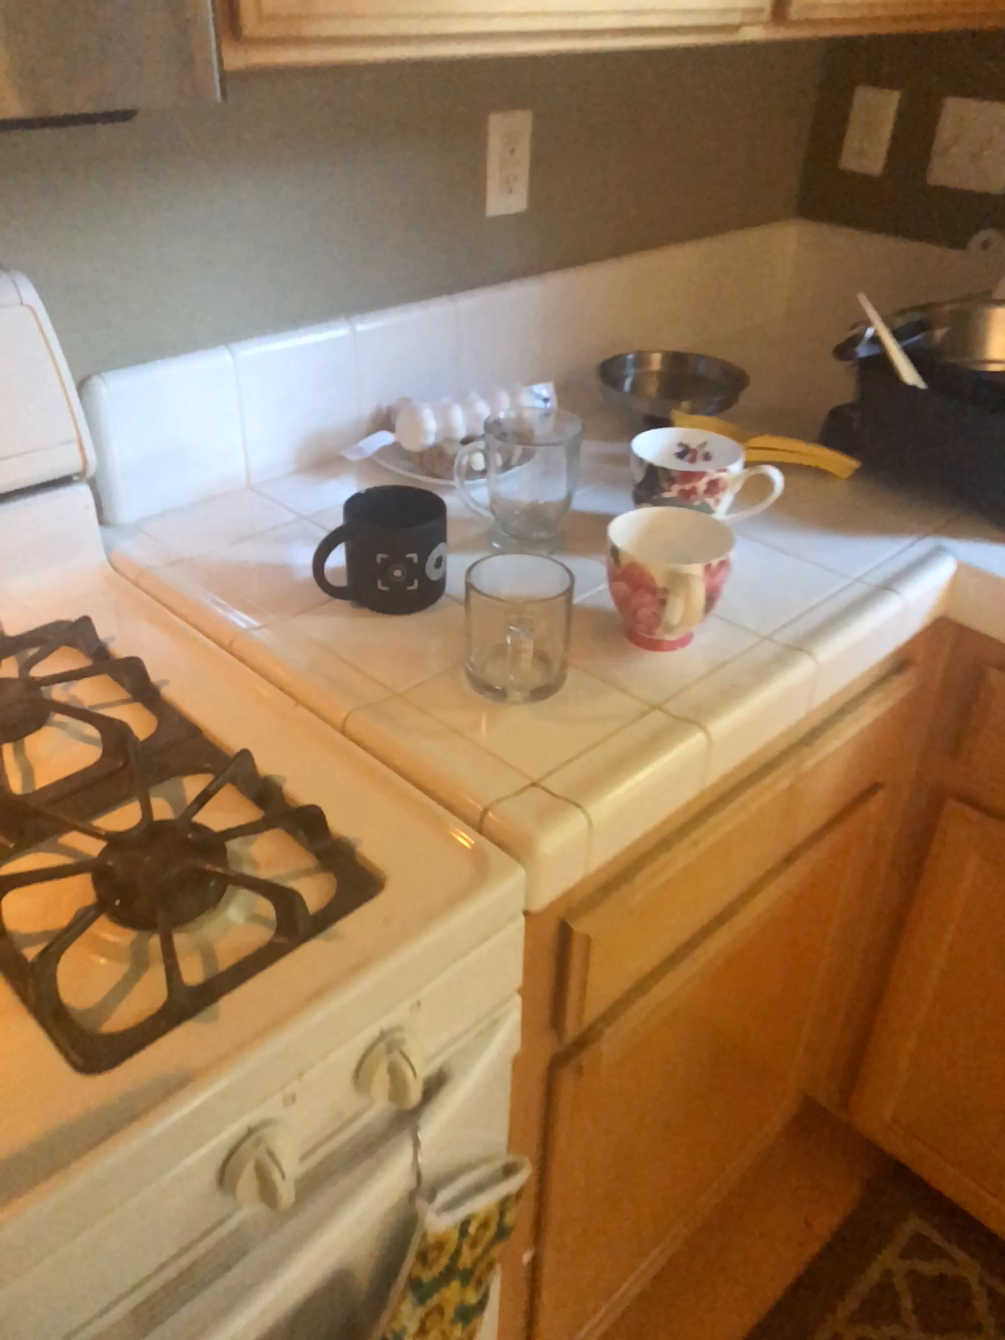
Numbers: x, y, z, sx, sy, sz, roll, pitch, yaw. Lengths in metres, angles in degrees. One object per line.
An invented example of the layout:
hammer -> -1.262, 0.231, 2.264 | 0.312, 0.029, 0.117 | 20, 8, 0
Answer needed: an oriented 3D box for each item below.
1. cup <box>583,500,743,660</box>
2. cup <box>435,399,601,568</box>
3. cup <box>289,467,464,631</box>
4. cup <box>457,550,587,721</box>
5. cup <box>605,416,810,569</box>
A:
cup -> 0.122, -0.074, 0.870 | 0.100, 0.069, 0.131 | 1, 34, -2
cup -> 0.011, -0.175, 1.019 | 0.120, 0.109, 0.101 | -11, 36, -19
cup -> -0.100, -0.100, 0.888 | 0.111, 0.079, 0.080 | -24, 41, -33
cup -> 0.011, -0.028, 0.853 | 0.090, 0.079, 0.121 | 0, 34, -3
cup -> 0.197, -0.175, 1.068 | 0.160, 0.079, 0.101 | 20, 38, 25
